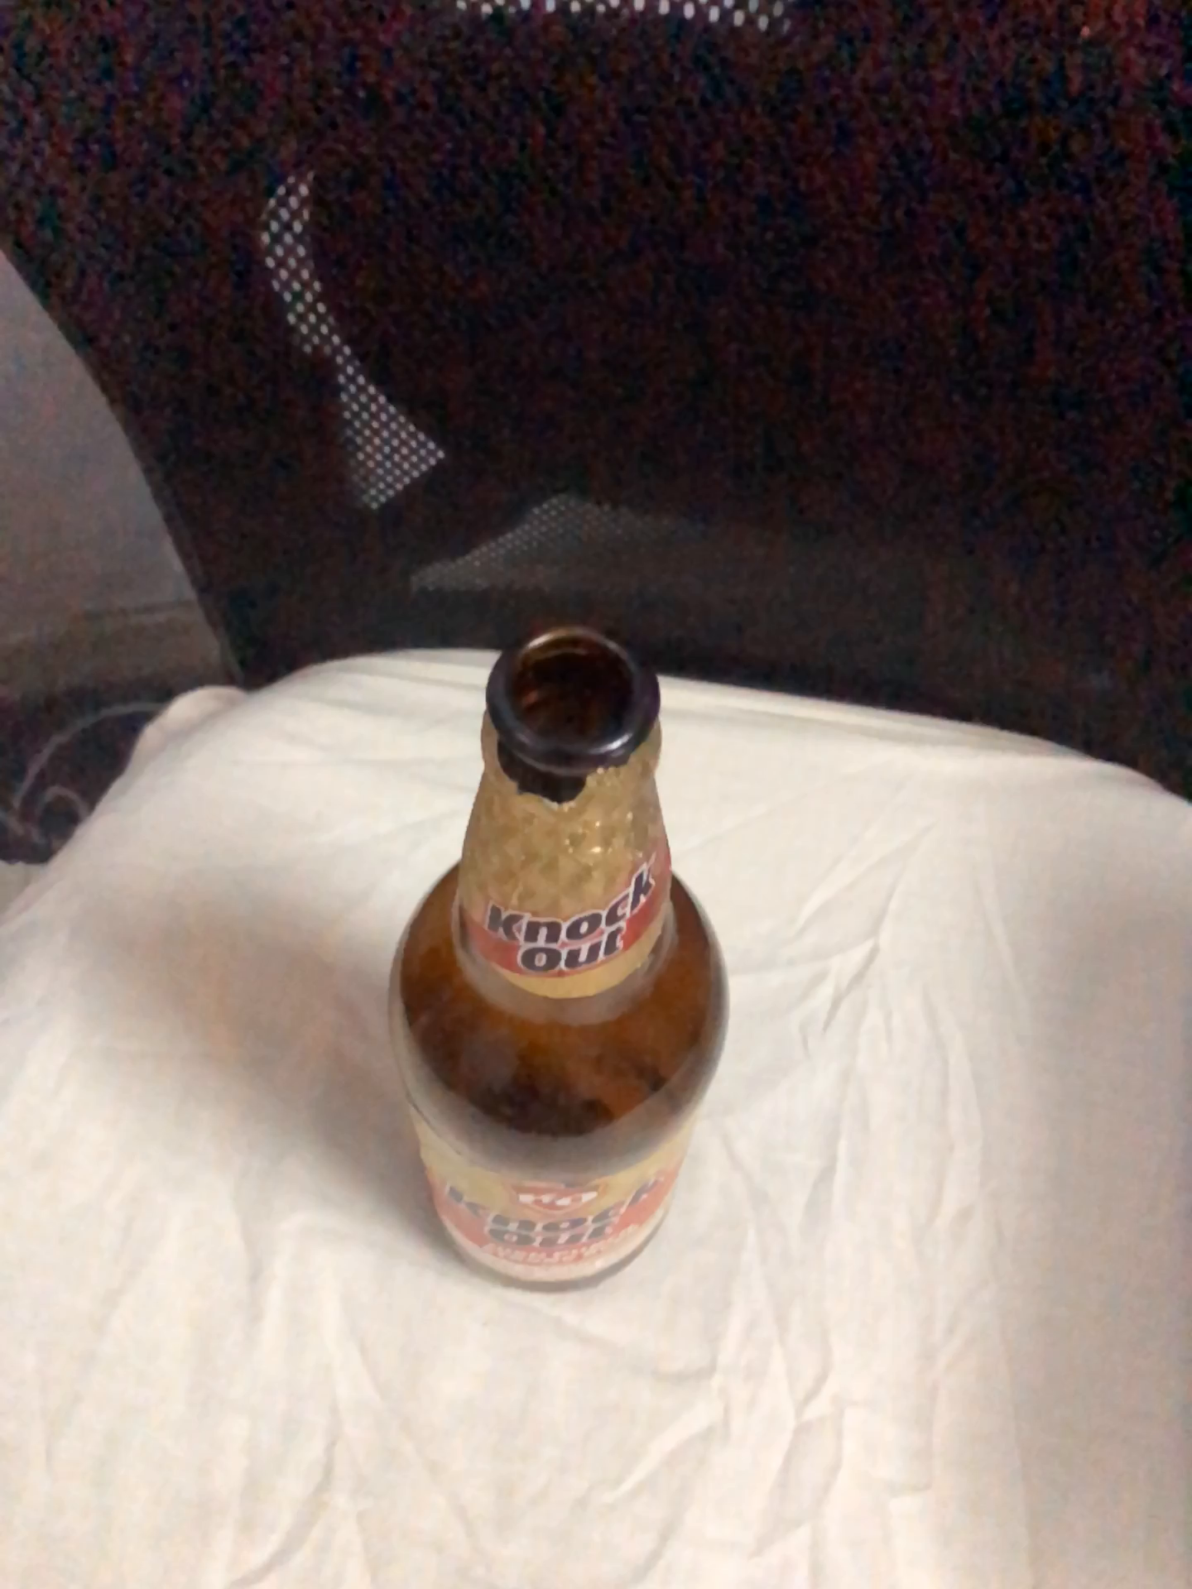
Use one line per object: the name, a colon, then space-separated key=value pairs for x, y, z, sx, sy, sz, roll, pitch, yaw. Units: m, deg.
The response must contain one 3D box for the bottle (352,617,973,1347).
bottle: x=-0.003 y=0.066 z=0.295 sx=0.080 sy=0.249 sz=0.070 roll=-3 pitch=61 yaw=-6
